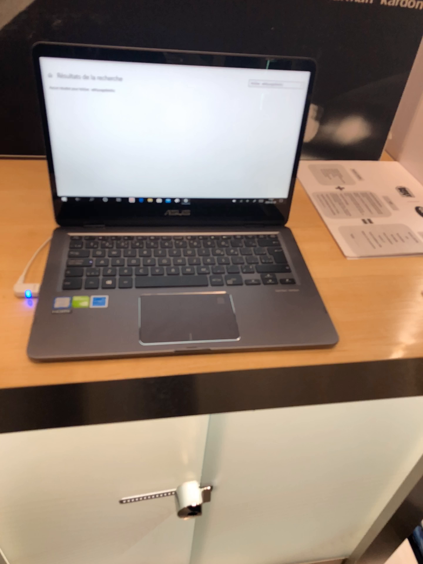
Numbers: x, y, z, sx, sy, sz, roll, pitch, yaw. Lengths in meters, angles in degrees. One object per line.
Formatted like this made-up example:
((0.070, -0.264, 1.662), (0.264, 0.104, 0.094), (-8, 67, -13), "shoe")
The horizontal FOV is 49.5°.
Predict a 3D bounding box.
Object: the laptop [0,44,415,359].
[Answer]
((-0.025, -0.091, 0.494), (0.320, 0.224, 0.240), (-1, 41, -9), "laptop")
